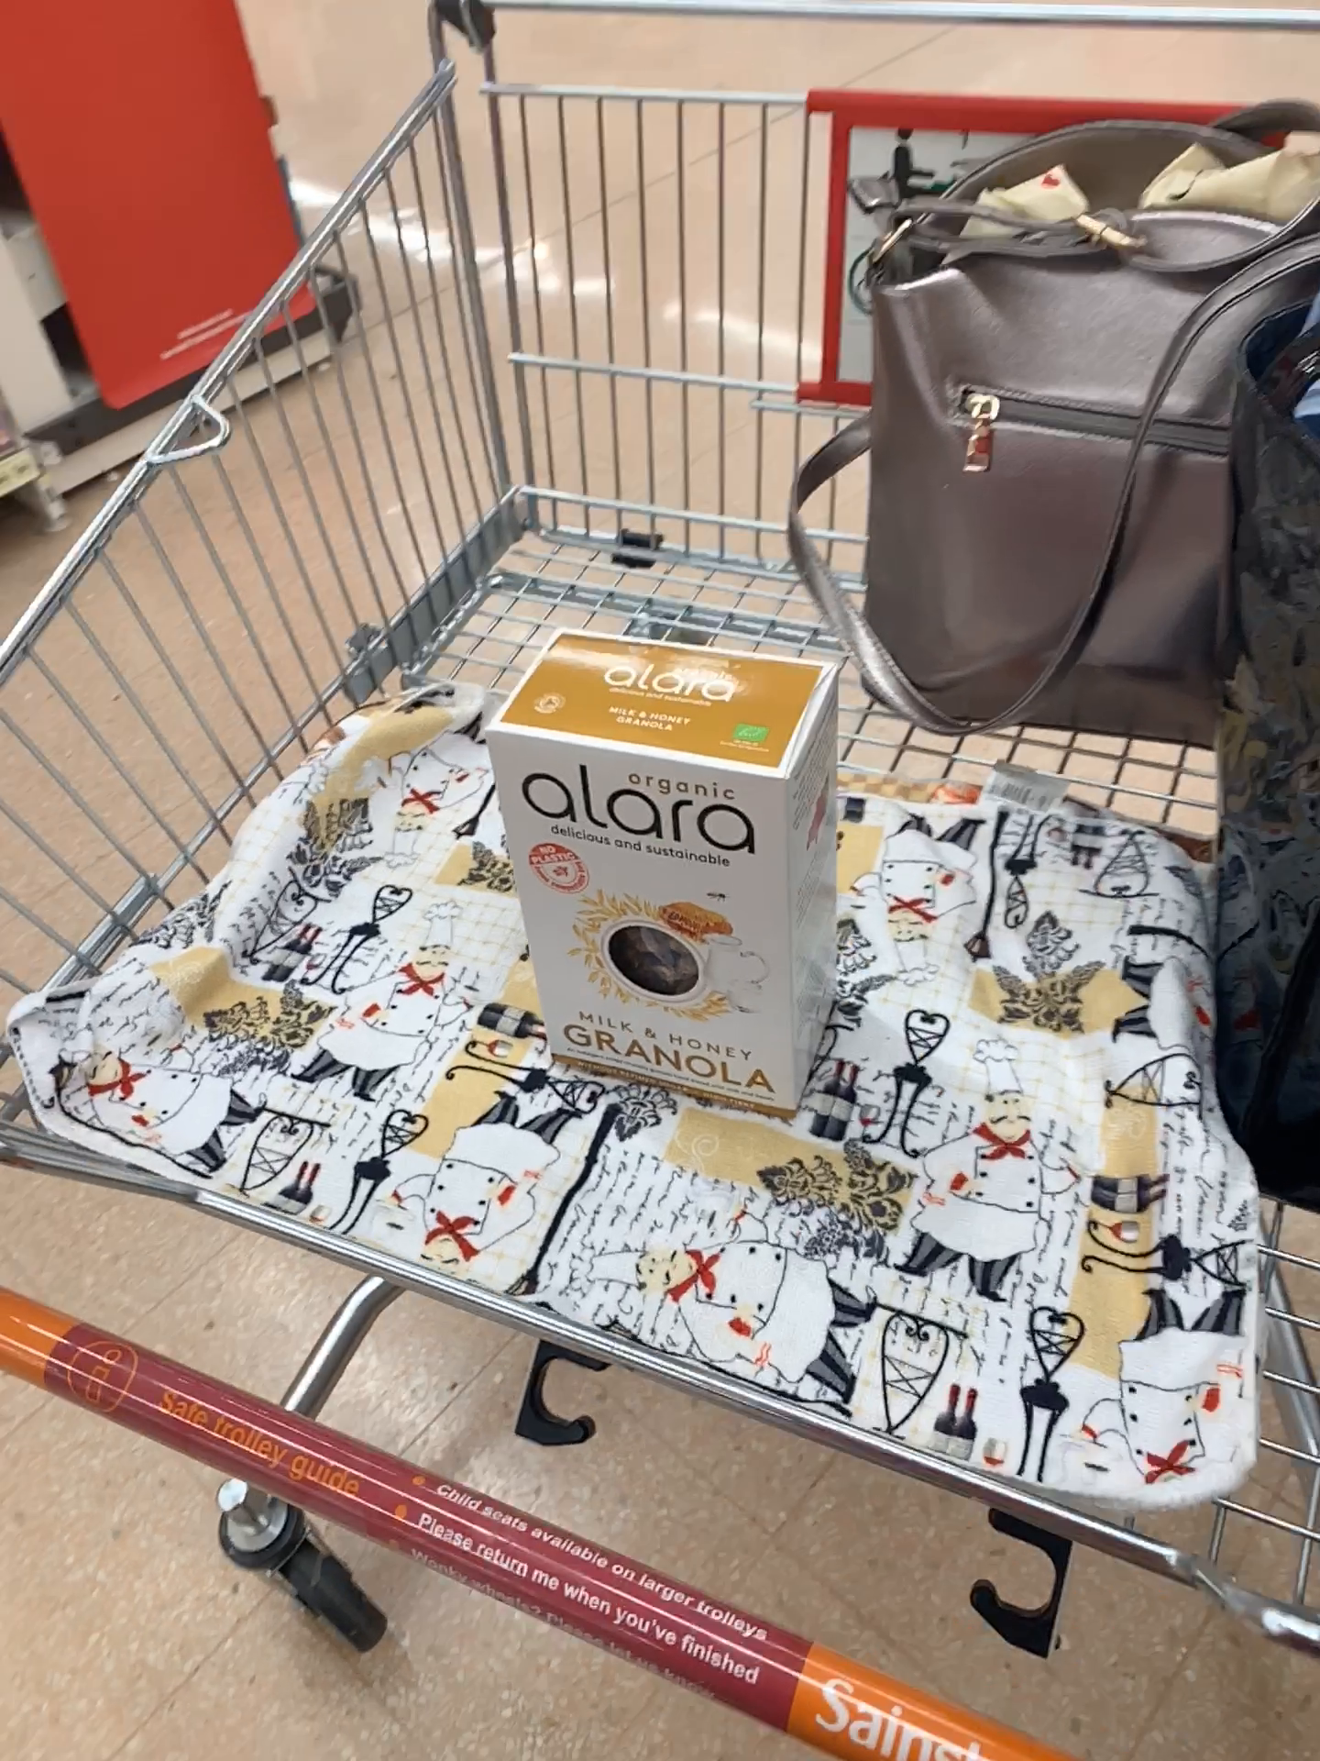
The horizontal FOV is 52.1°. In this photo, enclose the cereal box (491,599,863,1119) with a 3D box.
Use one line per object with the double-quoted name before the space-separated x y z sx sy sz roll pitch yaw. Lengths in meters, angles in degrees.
"cereal box" 0.014 -0.005 0.571 0.120 0.198 0.081 10 45 16
